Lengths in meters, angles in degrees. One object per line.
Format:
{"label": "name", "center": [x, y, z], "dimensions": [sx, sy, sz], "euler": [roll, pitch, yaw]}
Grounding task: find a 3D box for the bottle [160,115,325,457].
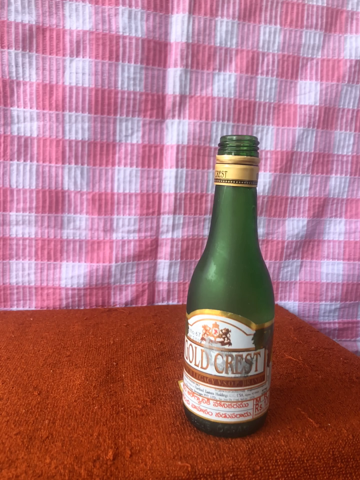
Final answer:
{"label": "bottle", "center": [0.036, 0.020, 0.232], "dimensions": [0.060, 0.170, 0.060], "euler": [5, 10, -1]}
